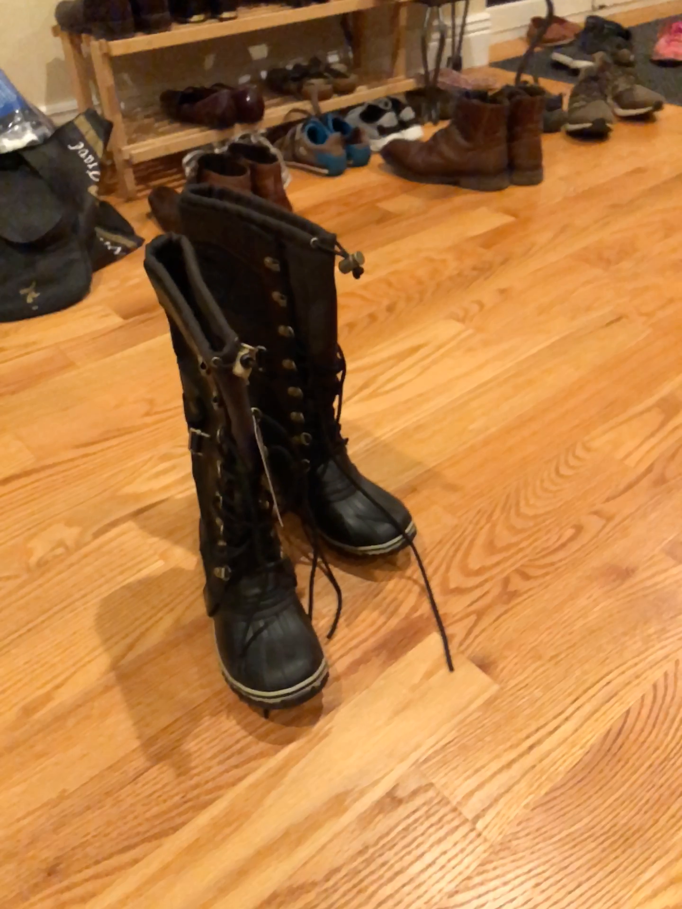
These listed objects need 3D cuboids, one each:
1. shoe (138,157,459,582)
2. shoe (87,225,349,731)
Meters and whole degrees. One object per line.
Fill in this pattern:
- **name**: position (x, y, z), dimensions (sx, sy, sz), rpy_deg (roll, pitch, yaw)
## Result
- **shoe**: position (-0.037, -0.079, 0.717), dimensions (0.261, 0.328, 0.100), rpy_deg (25, 46, 30)
- **shoe**: position (-0.098, 0.015, 0.619), dimensions (0.100, 0.308, 0.261), rpy_deg (-17, 41, -18)
